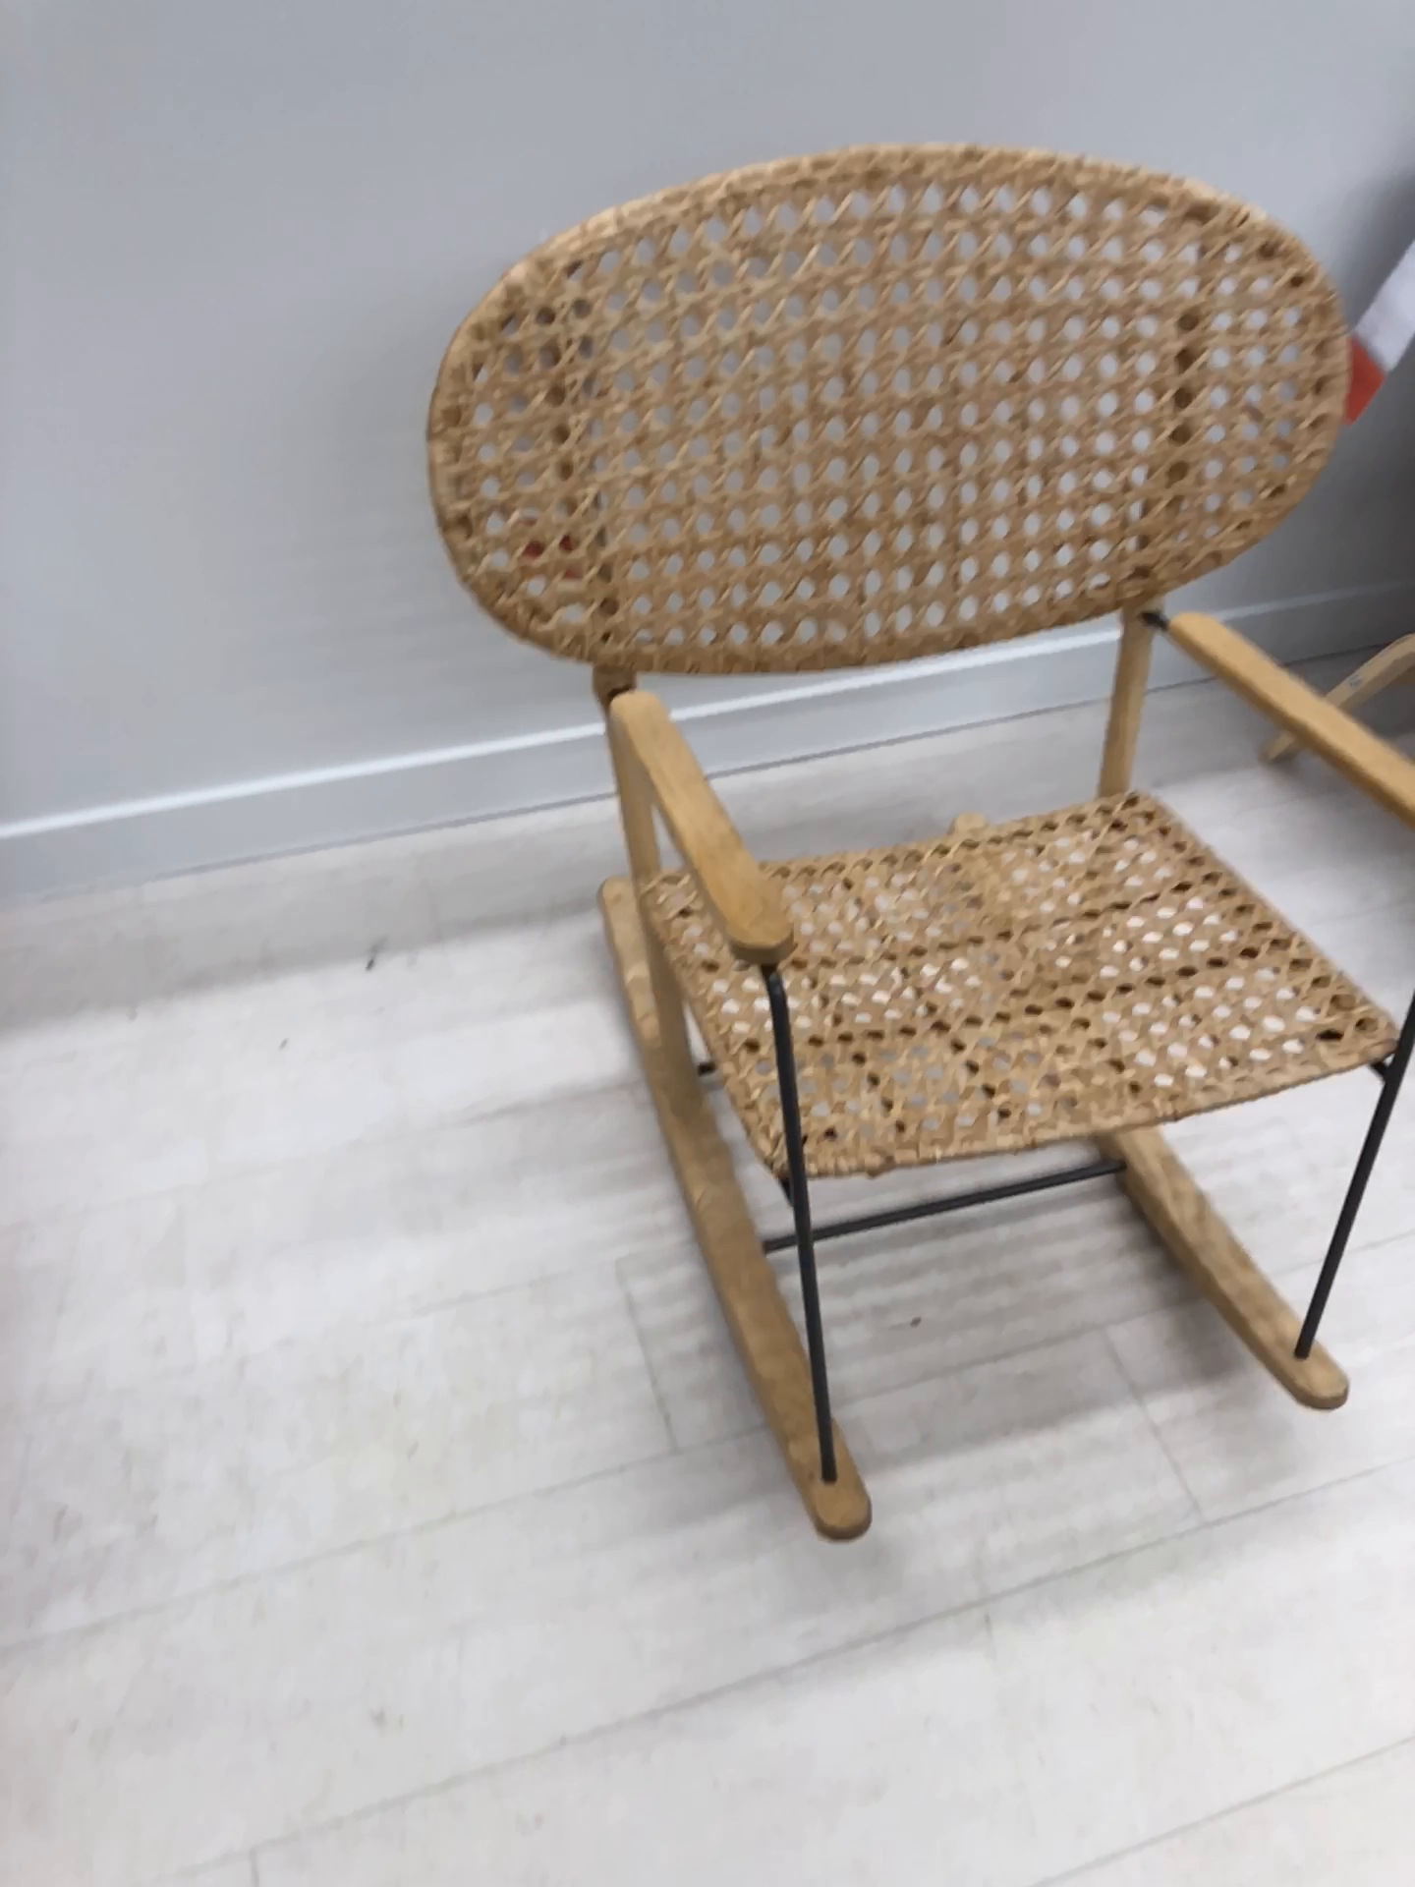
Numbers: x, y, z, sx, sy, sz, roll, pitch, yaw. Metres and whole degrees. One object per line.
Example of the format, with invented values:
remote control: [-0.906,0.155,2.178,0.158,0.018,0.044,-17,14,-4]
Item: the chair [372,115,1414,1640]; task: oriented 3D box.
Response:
chair: [0.235,-0.087,1.301,0.830,0.787,0.853,-10,50,-12]
